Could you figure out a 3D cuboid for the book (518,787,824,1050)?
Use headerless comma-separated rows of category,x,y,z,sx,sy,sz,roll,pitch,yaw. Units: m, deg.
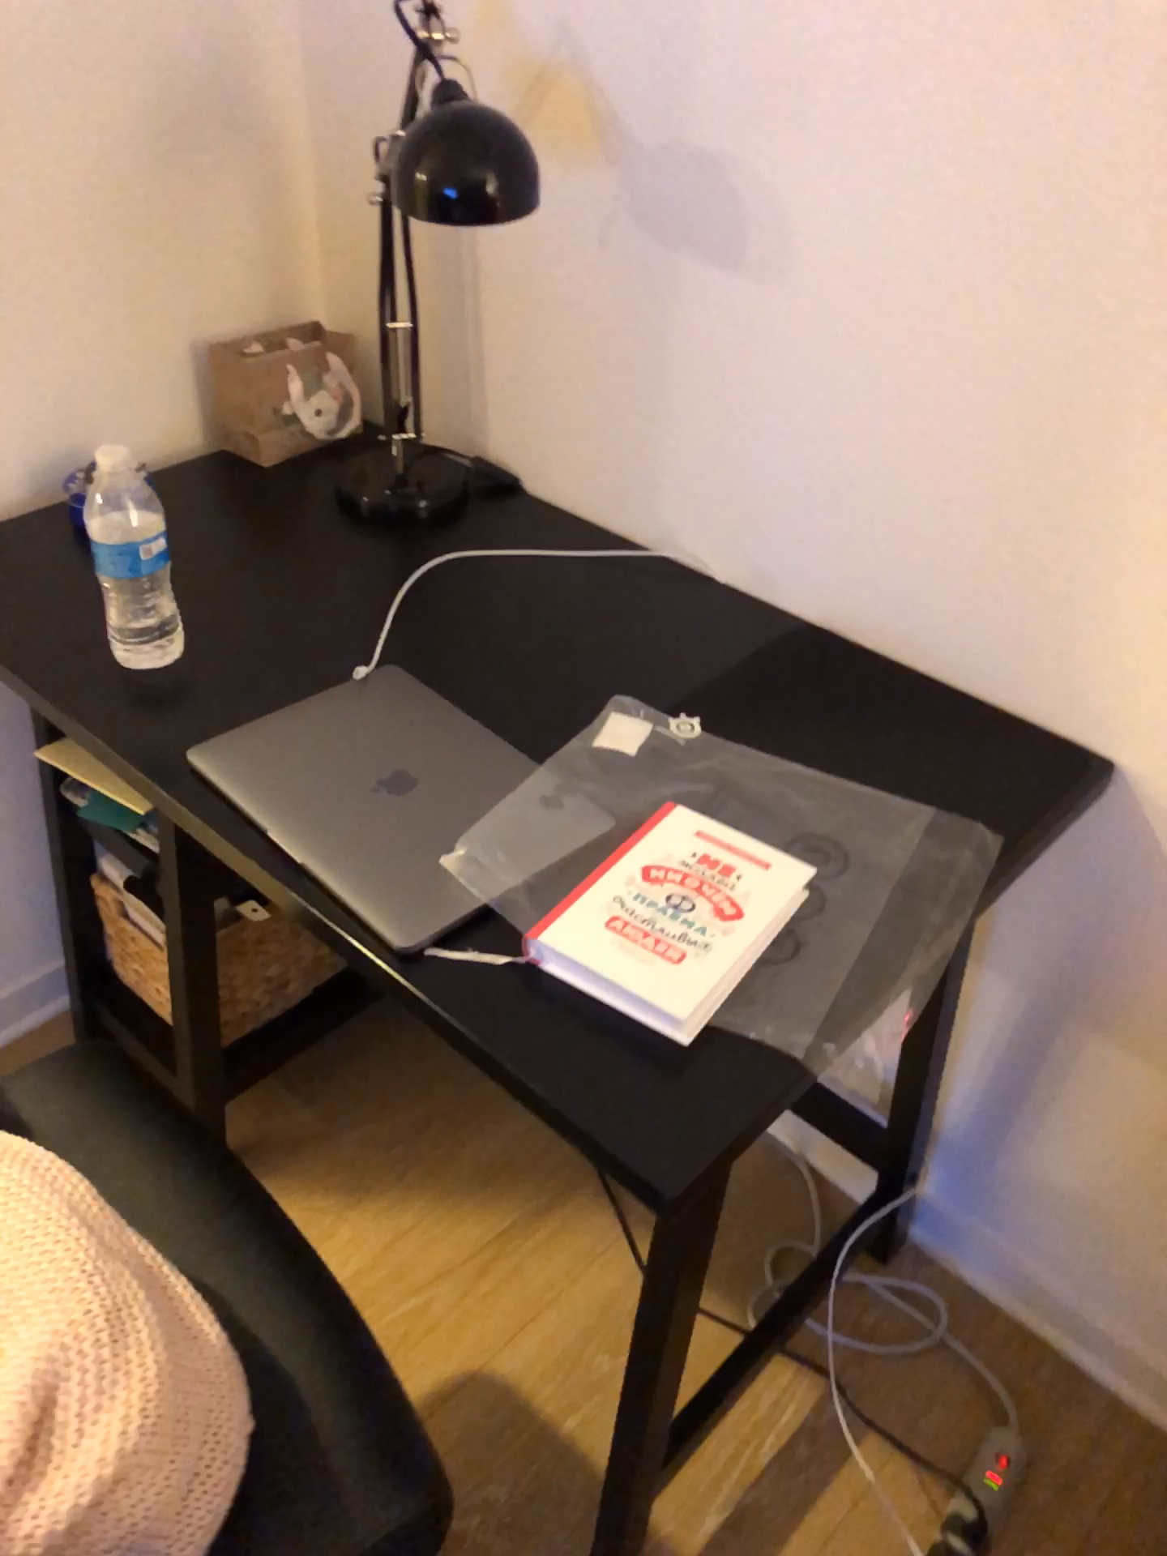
book,0.066,0.092,0.920,0.140,0.030,0.191,24,43,25
